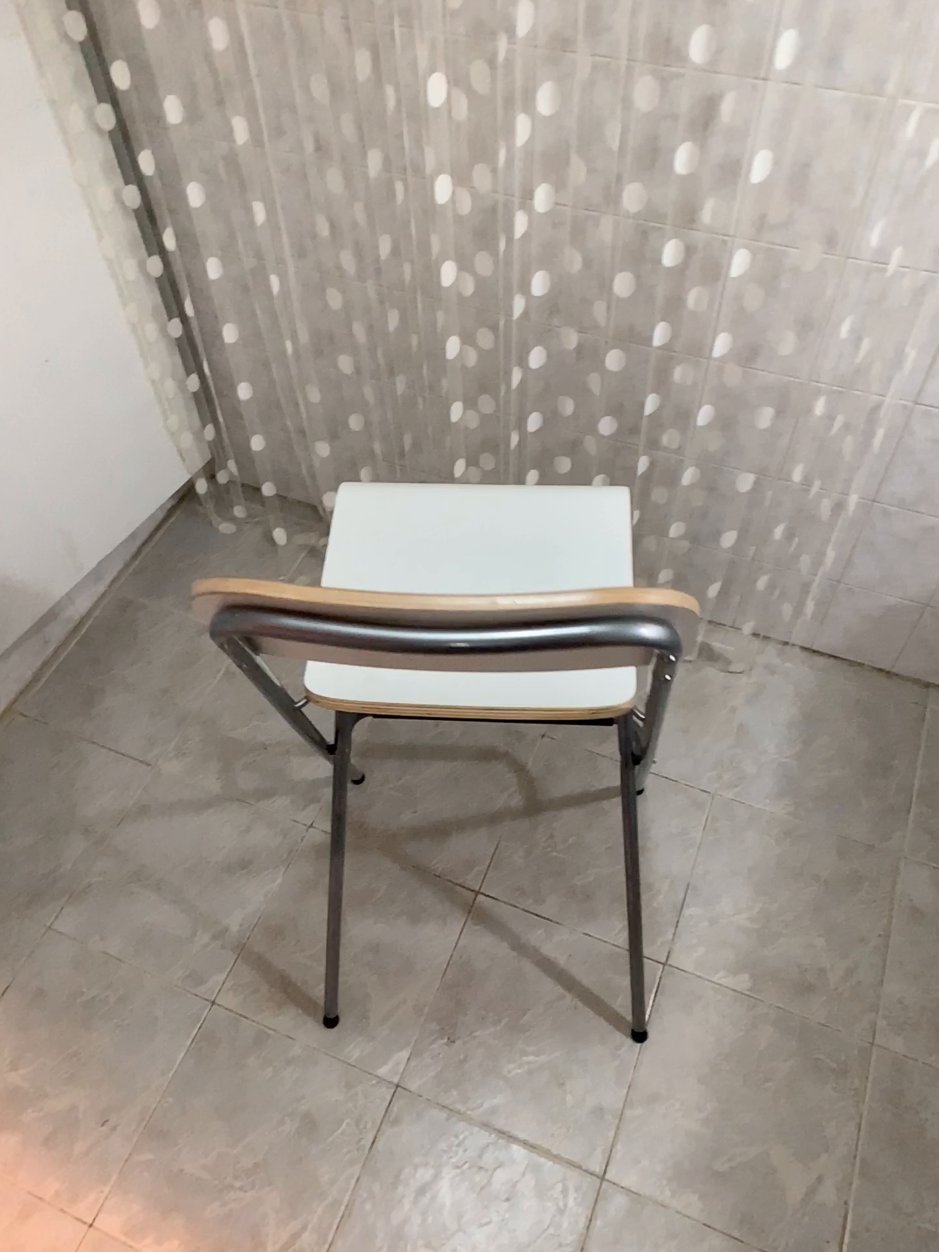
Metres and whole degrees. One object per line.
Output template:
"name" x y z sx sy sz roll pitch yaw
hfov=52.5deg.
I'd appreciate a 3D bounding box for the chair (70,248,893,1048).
"chair" 0.022 0.133 1.165 0.537 1.009 0.467 1 53 2
